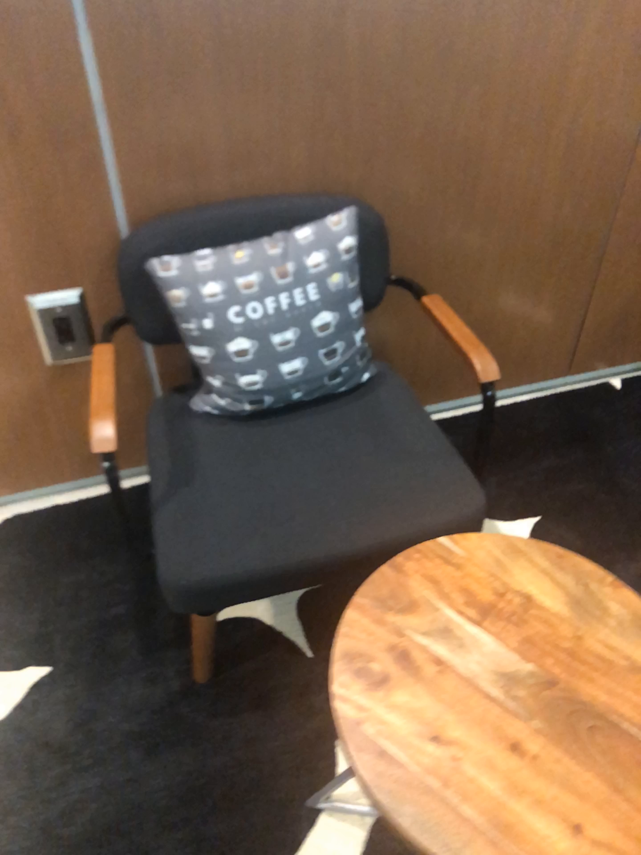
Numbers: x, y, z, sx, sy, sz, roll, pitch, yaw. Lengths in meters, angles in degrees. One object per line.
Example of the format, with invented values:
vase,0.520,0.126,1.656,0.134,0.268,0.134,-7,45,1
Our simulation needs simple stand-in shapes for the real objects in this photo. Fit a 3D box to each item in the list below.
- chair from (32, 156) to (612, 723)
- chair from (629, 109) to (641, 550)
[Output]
chair,-0.036,-0.003,1.305,0.731,0.714,0.574,-11,40,-11
chair,1.335,-0.268,1.724,0.681,0.714,0.685,-11,40,-11
